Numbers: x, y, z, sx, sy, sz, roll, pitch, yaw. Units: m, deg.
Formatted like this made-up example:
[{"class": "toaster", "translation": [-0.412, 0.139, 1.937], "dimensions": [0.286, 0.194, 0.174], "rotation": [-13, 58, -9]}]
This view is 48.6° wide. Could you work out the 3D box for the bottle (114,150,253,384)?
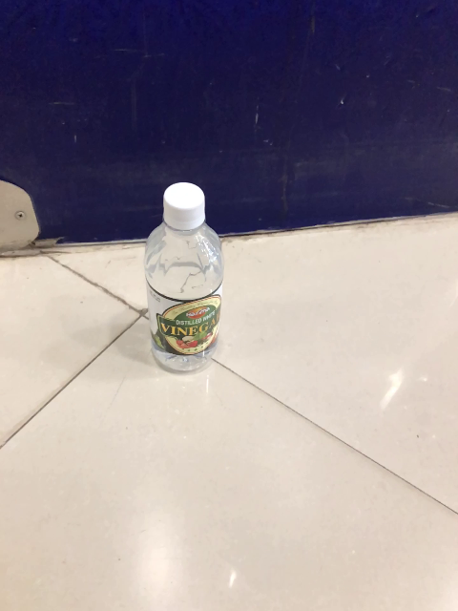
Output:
[{"class": "bottle", "translation": [-0.040, -0.023, 0.426], "dimensions": [0.080, 0.189, 0.070], "rotation": [-13, 52, -16]}]
